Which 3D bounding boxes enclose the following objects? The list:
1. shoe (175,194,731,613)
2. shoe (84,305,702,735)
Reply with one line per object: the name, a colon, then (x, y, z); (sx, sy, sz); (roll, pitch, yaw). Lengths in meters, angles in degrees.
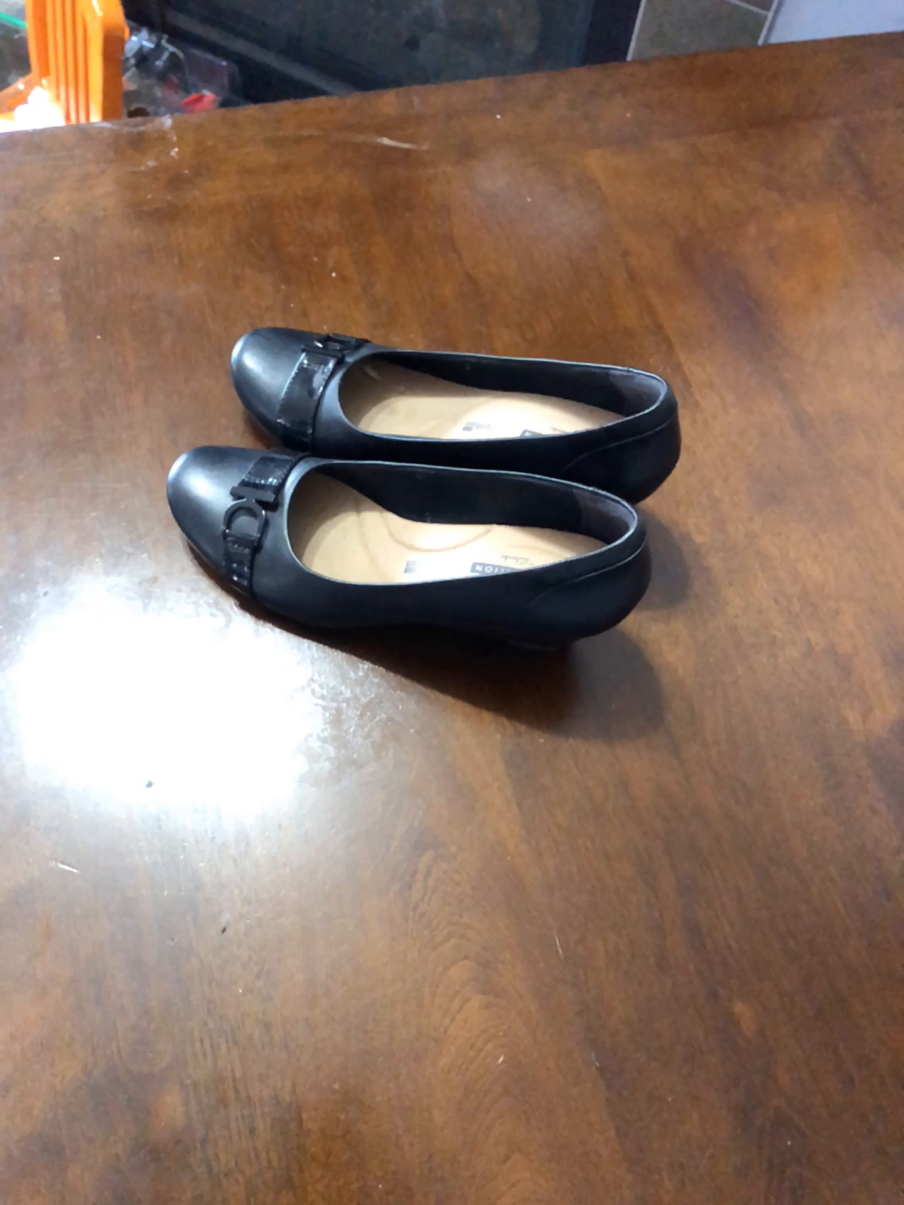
shoe: (-0.002, -0.101, 0.526); (0.250, 0.110, 0.090); (21, 63, 5)
shoe: (-0.026, -0.035, 0.481); (0.250, 0.110, 0.090); (18, 63, 4)
